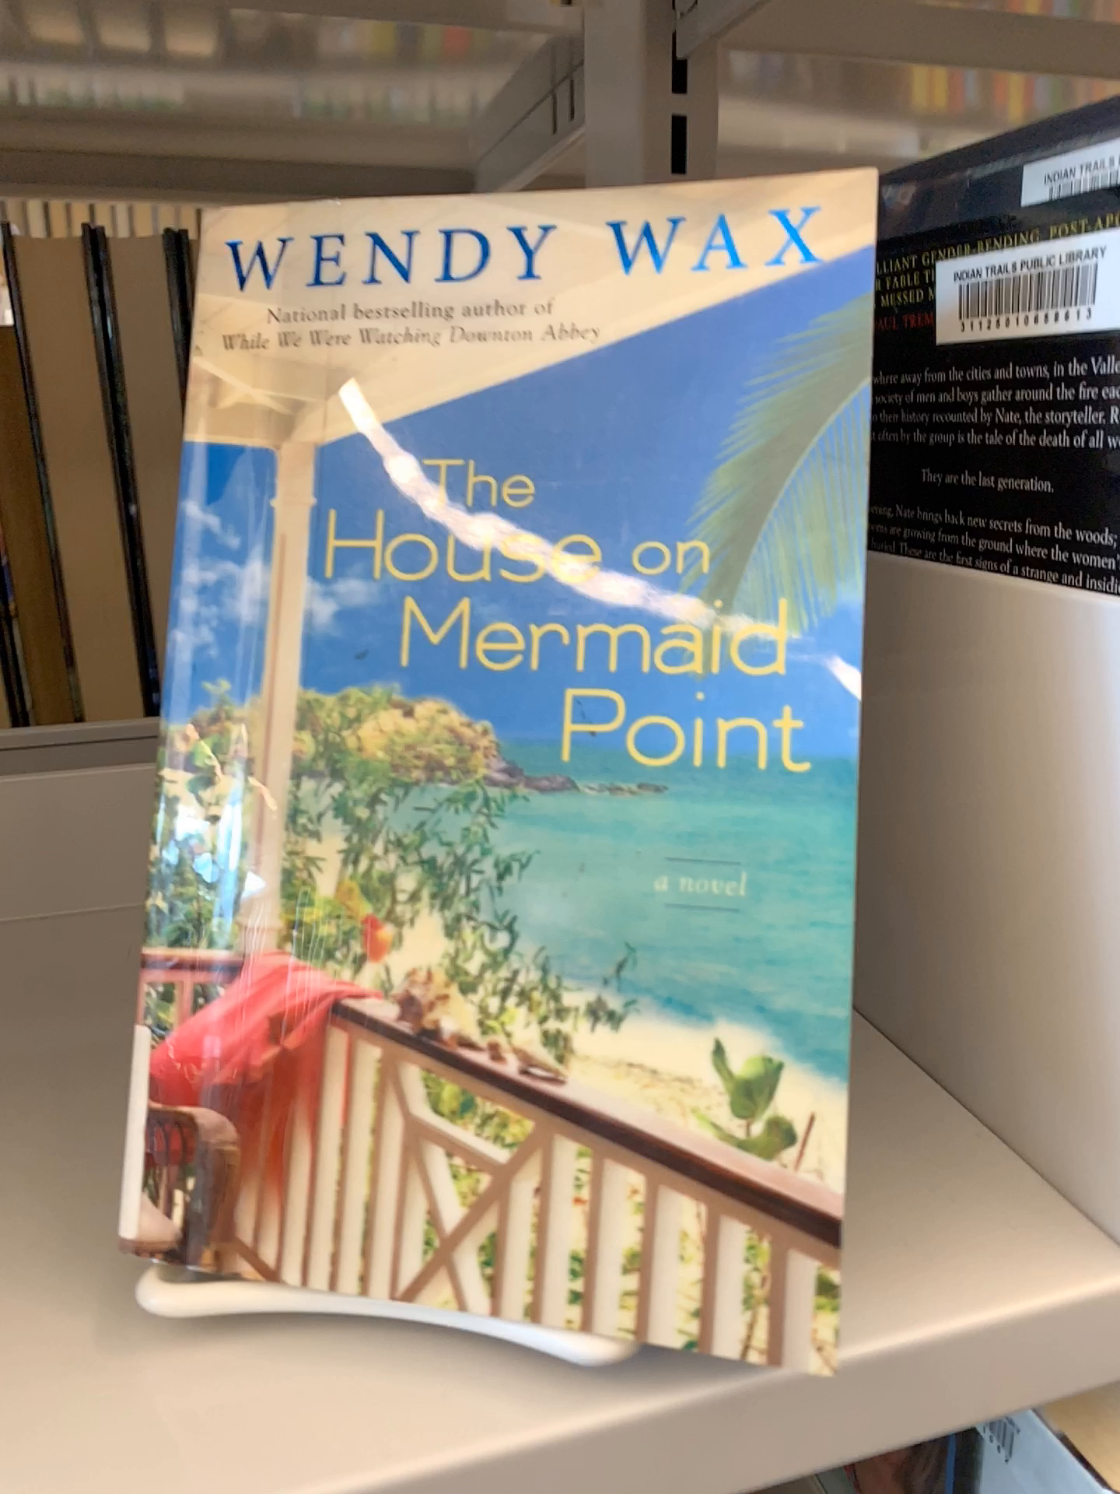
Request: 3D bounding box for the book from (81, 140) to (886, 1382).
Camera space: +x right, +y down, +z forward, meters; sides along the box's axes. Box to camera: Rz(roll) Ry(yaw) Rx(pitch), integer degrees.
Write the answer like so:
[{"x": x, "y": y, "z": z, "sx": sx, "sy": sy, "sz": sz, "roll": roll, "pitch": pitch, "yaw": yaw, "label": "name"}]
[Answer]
[{"x": -0.011, "y": -0.002, "z": 0.216, "sx": 0.131, "sy": 0.193, "sz": 0.043, "roll": 2, "pitch": -4, "yaw": 14, "label": "book"}]
